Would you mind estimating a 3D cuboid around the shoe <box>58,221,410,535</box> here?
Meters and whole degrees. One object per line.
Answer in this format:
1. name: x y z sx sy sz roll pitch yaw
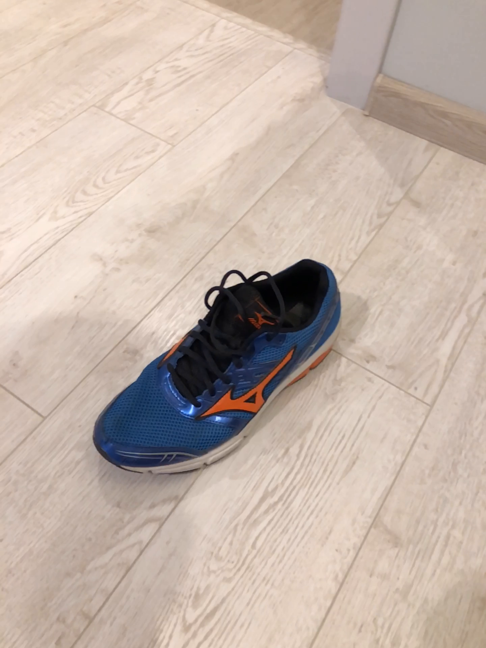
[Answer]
1. shoe: 0.001 0.042 0.512 0.301 0.119 0.116 -33 64 -24
